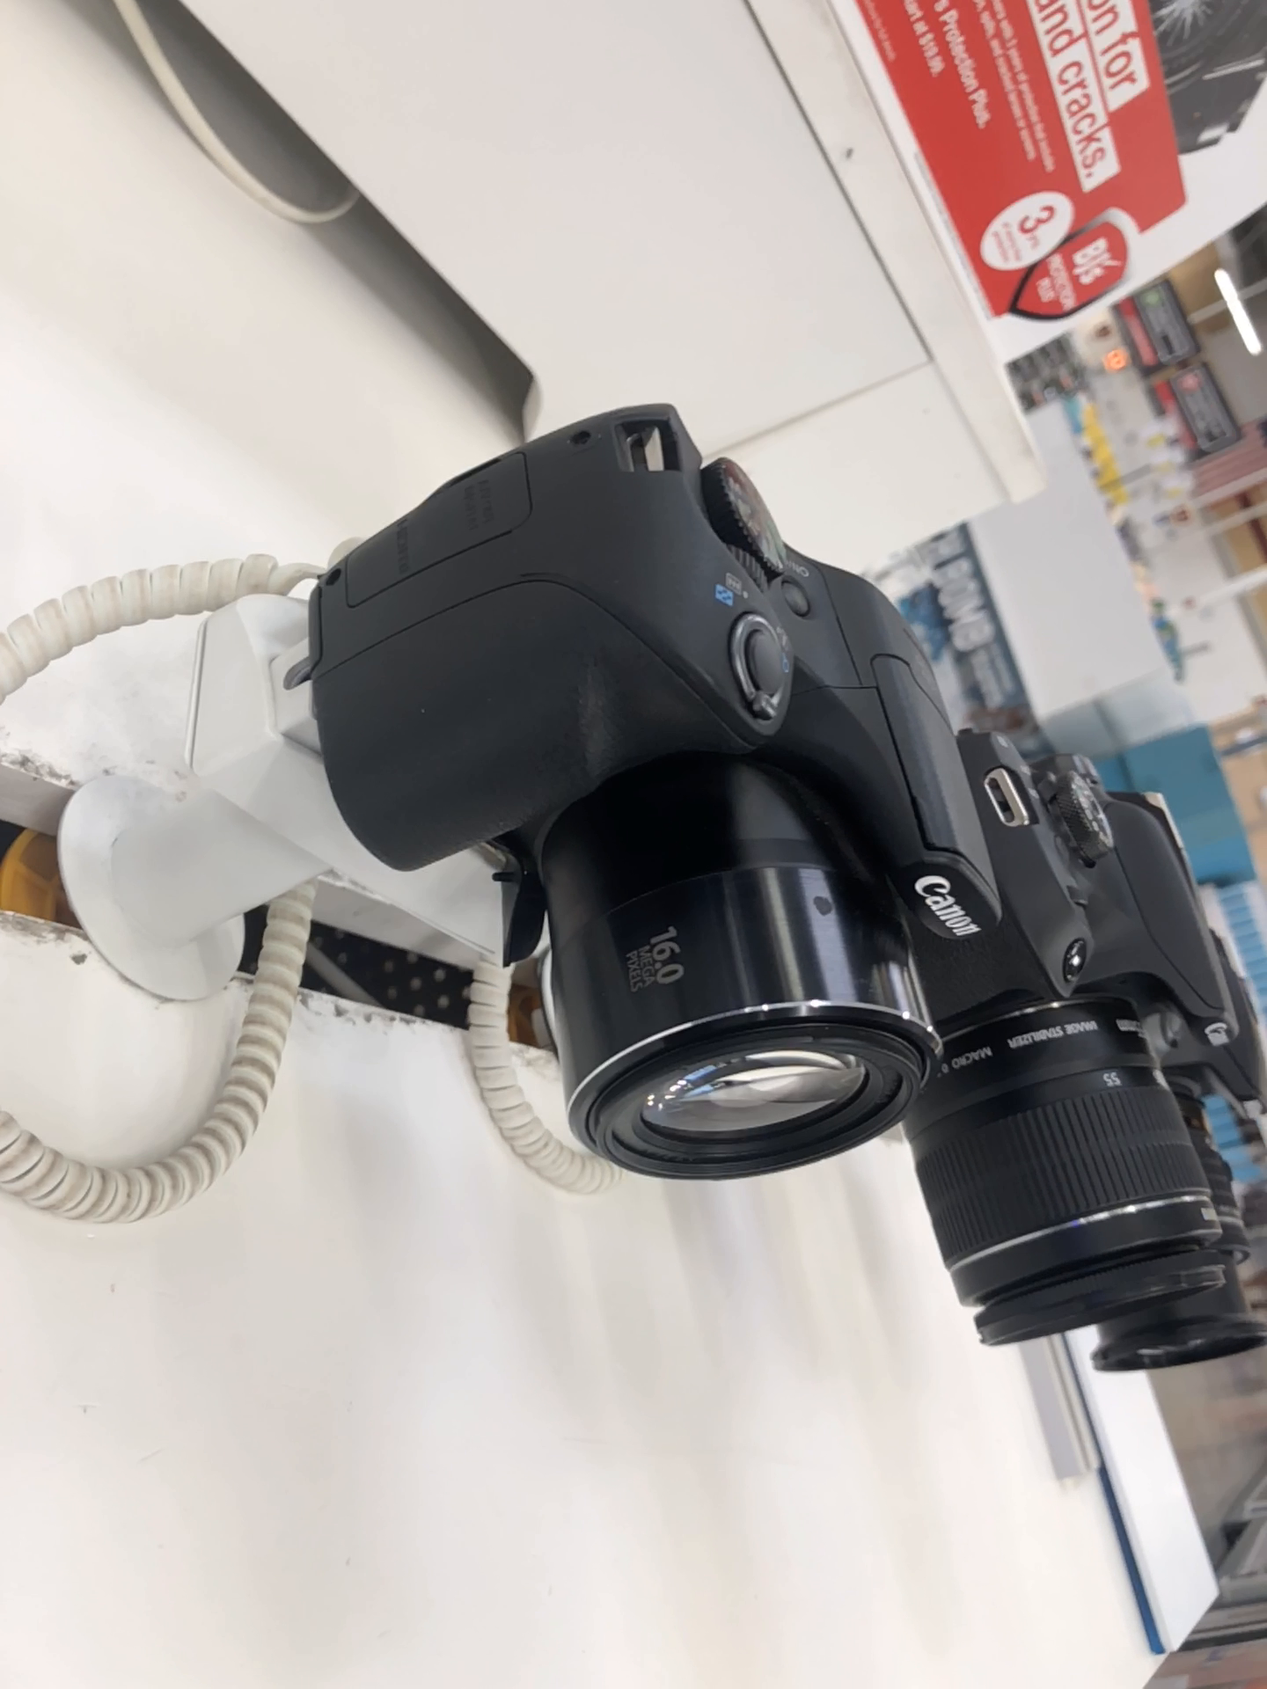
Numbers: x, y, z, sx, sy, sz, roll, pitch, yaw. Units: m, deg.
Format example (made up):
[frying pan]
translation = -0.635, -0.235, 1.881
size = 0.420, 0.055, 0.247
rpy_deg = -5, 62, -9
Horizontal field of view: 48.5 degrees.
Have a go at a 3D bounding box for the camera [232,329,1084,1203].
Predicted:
[camera]
translation = 0.009, 0.000, 0.243
size = 0.120, 0.090, 0.080
rpy_deg = 40, 35, -52
